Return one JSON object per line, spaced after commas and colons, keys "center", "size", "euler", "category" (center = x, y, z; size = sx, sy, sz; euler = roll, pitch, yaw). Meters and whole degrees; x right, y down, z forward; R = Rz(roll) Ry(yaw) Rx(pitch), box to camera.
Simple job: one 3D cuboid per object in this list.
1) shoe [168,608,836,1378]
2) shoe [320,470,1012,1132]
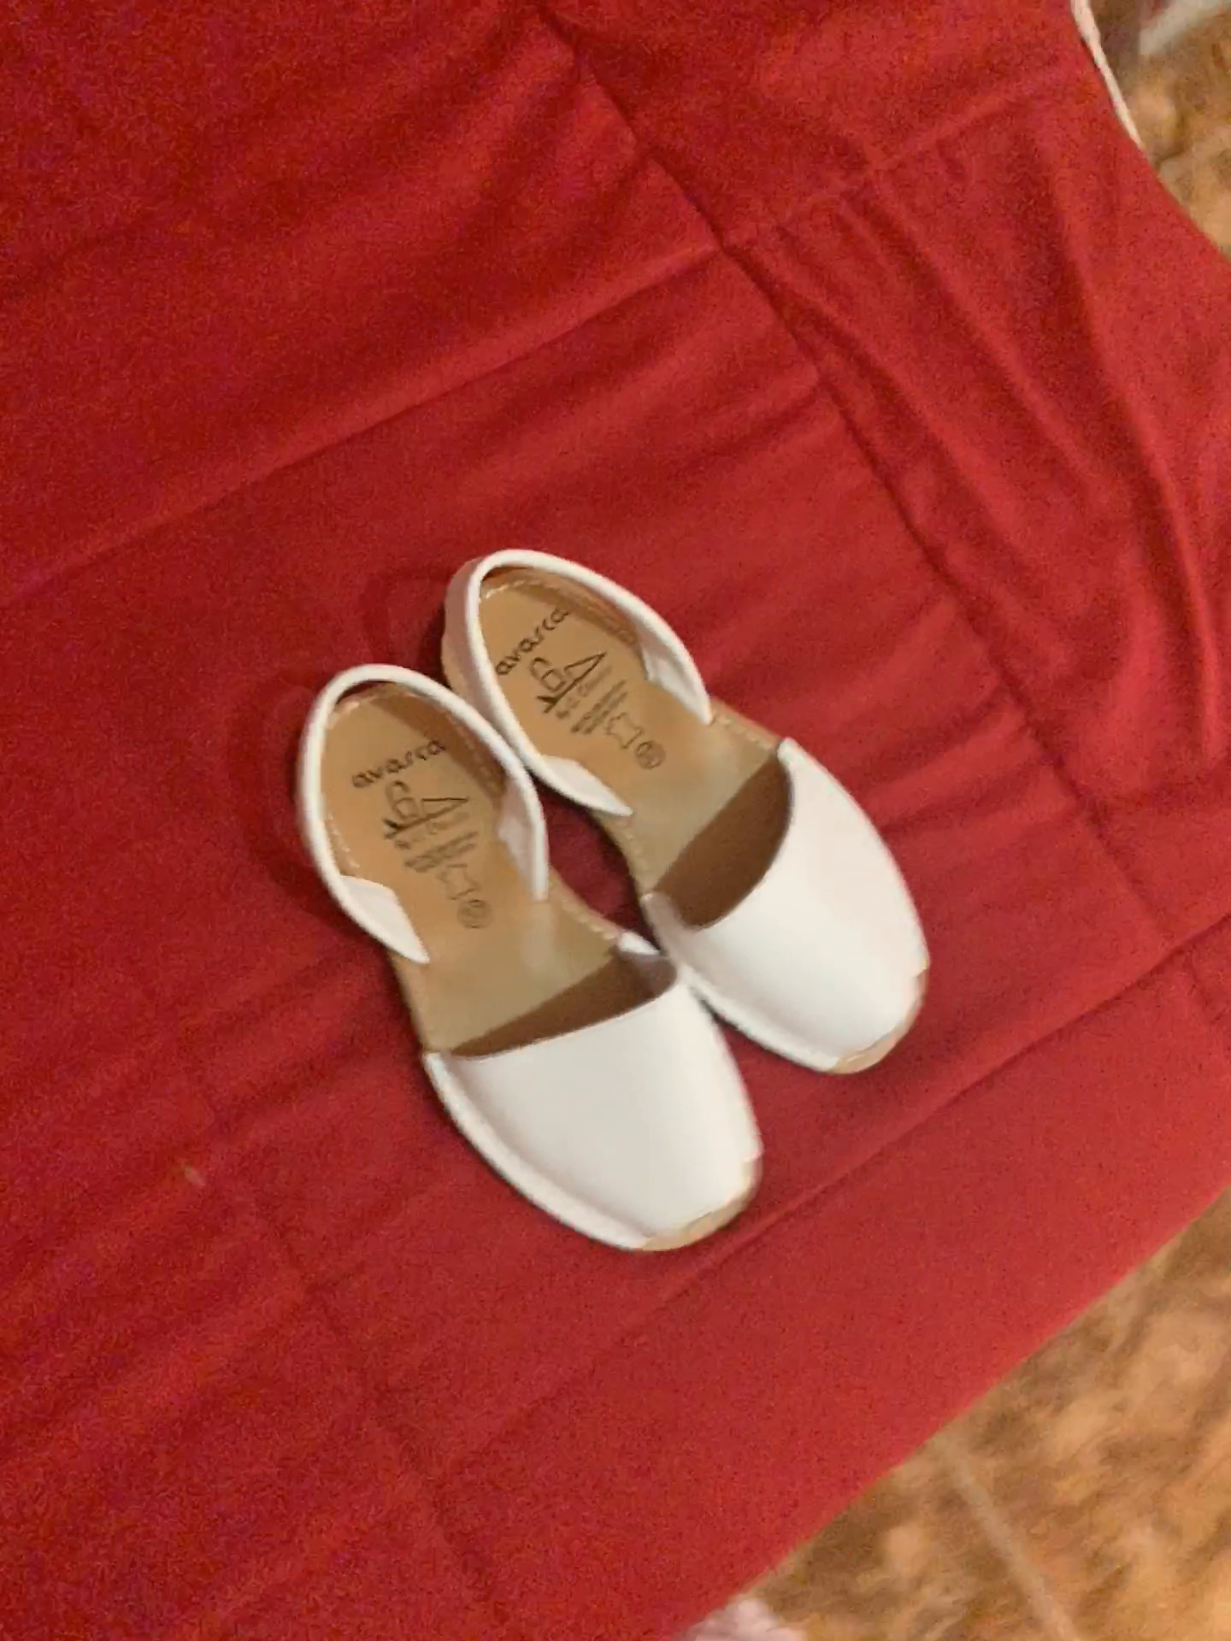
{"center": [-0.042, 0.060, 0.466], "size": [0.108, 0.063, 0.247], "euler": [-35, 88, -13], "category": "shoe"}
{"center": [0.017, -0.005, 0.488], "size": [0.249, 0.063, 0.103], "euler": [42, 77, -1], "category": "shoe"}
